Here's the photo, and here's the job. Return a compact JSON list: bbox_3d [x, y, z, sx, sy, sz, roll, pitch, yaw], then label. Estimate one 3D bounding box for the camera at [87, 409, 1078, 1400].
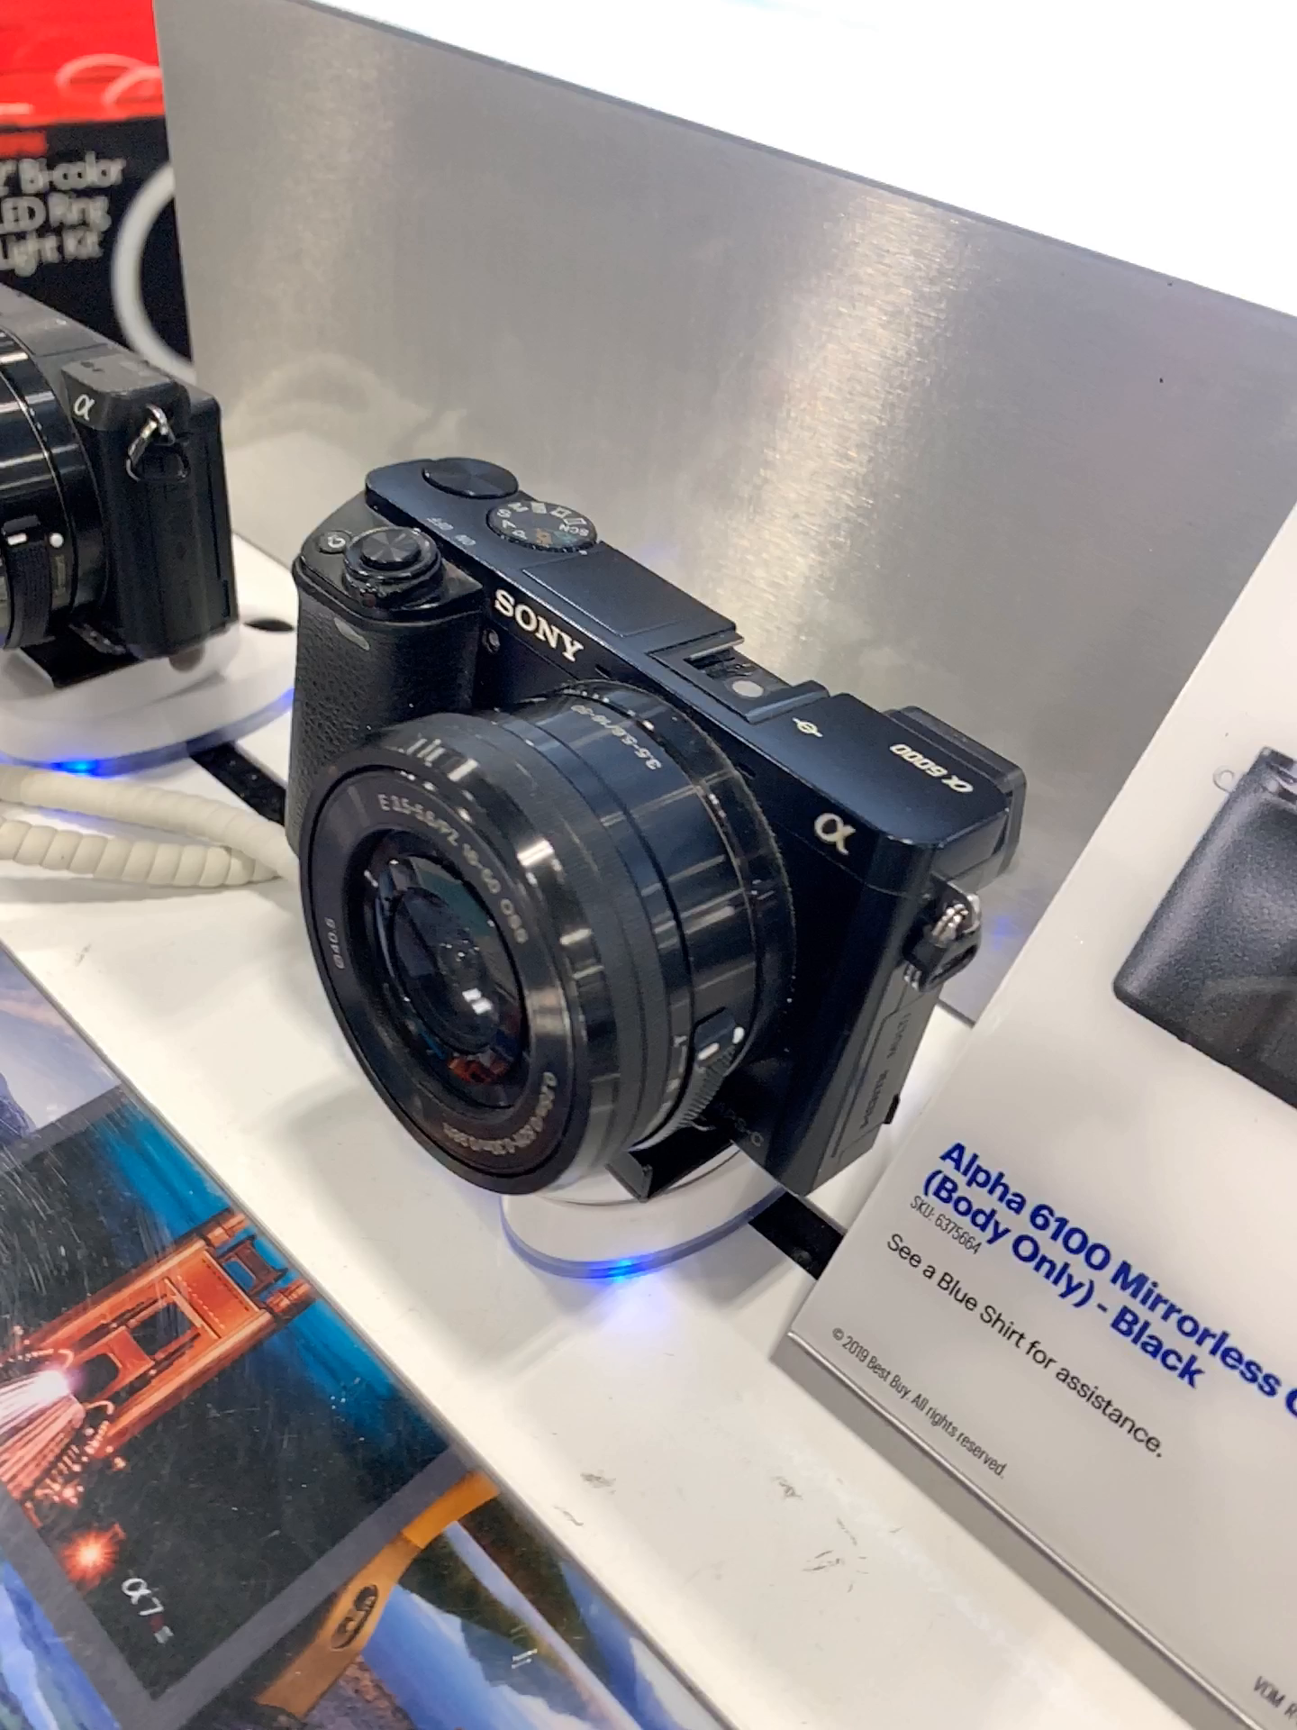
[{"bbox_3d":[-0.019,-0.006,0.195,0.120,0.074,0.065,37,40,30],"label":"camera"}]
